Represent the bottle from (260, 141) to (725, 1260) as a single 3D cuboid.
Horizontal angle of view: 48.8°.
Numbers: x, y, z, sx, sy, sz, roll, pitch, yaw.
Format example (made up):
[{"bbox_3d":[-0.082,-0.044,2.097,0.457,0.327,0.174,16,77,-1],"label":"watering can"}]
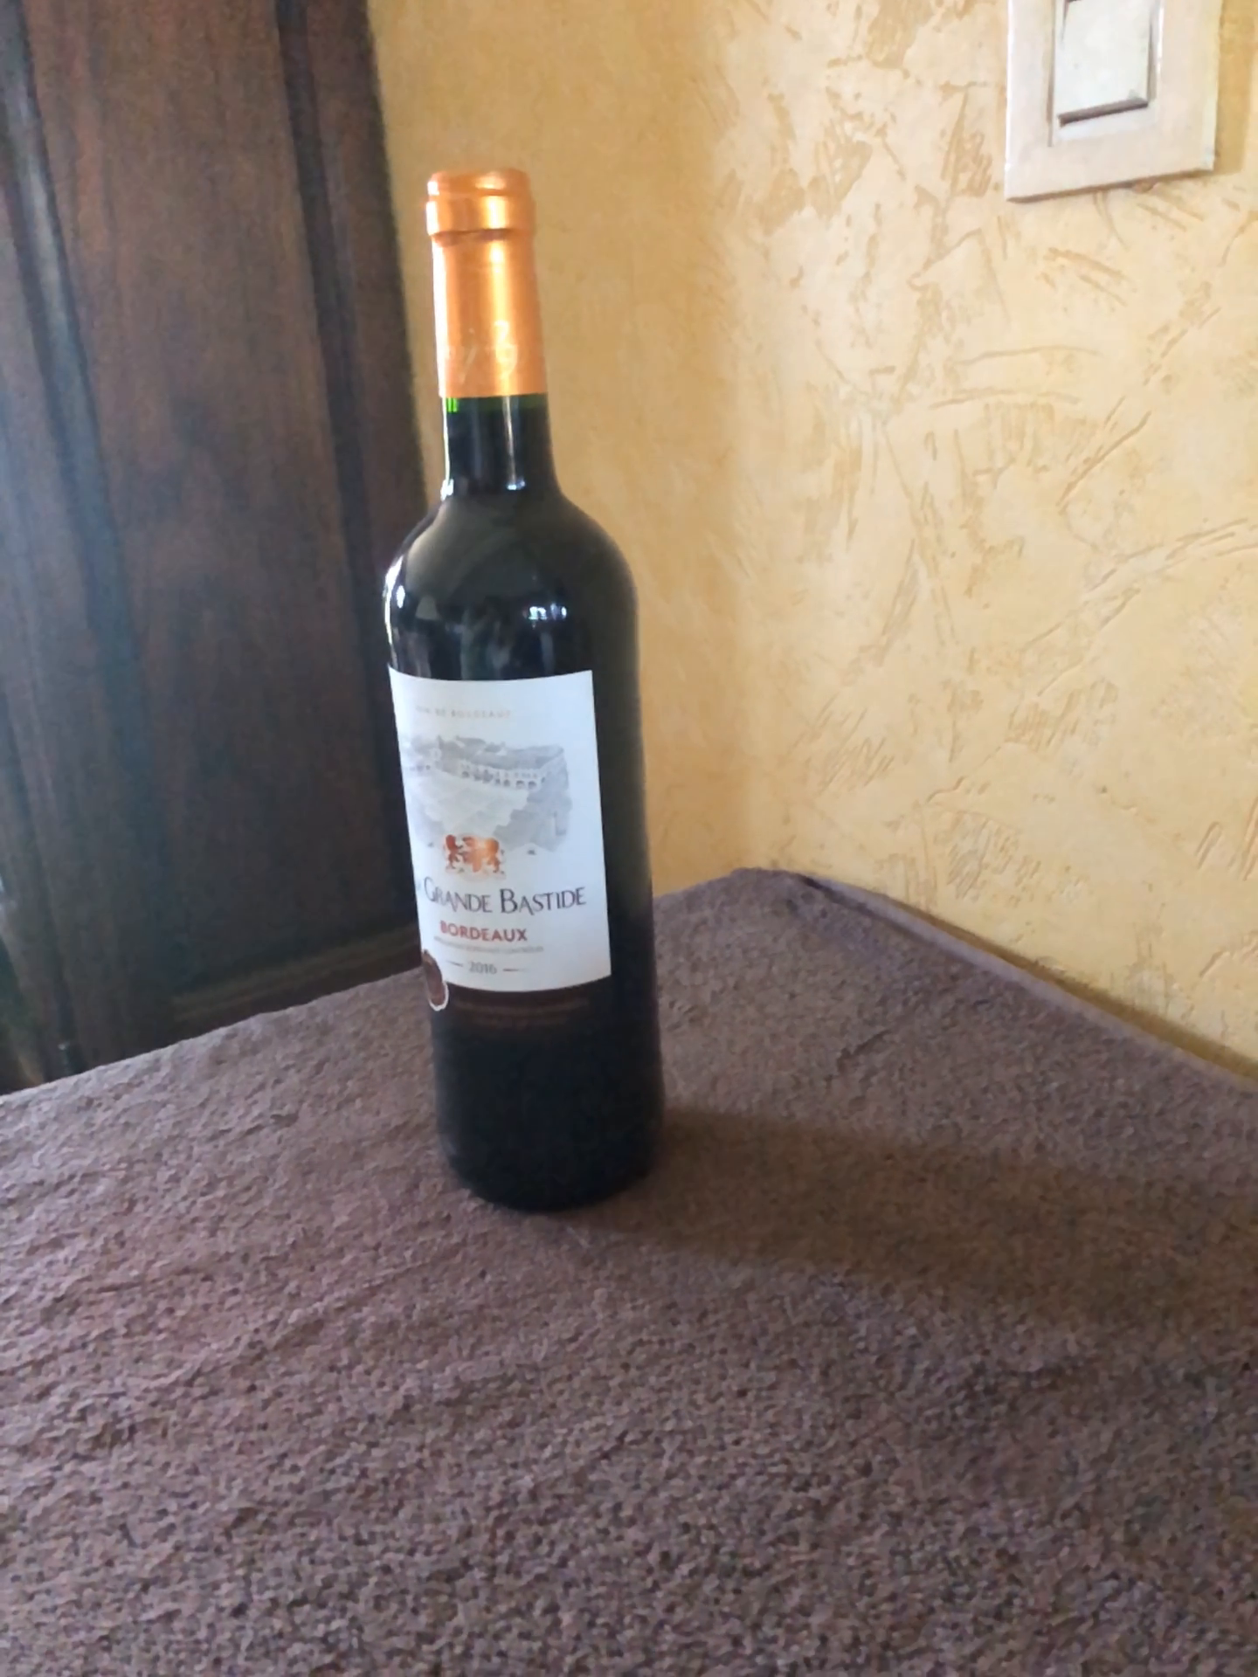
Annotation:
[{"bbox_3d":[-0.030,-0.033,0.413,0.080,0.299,0.080,-4,18,1],"label":"bottle"}]
